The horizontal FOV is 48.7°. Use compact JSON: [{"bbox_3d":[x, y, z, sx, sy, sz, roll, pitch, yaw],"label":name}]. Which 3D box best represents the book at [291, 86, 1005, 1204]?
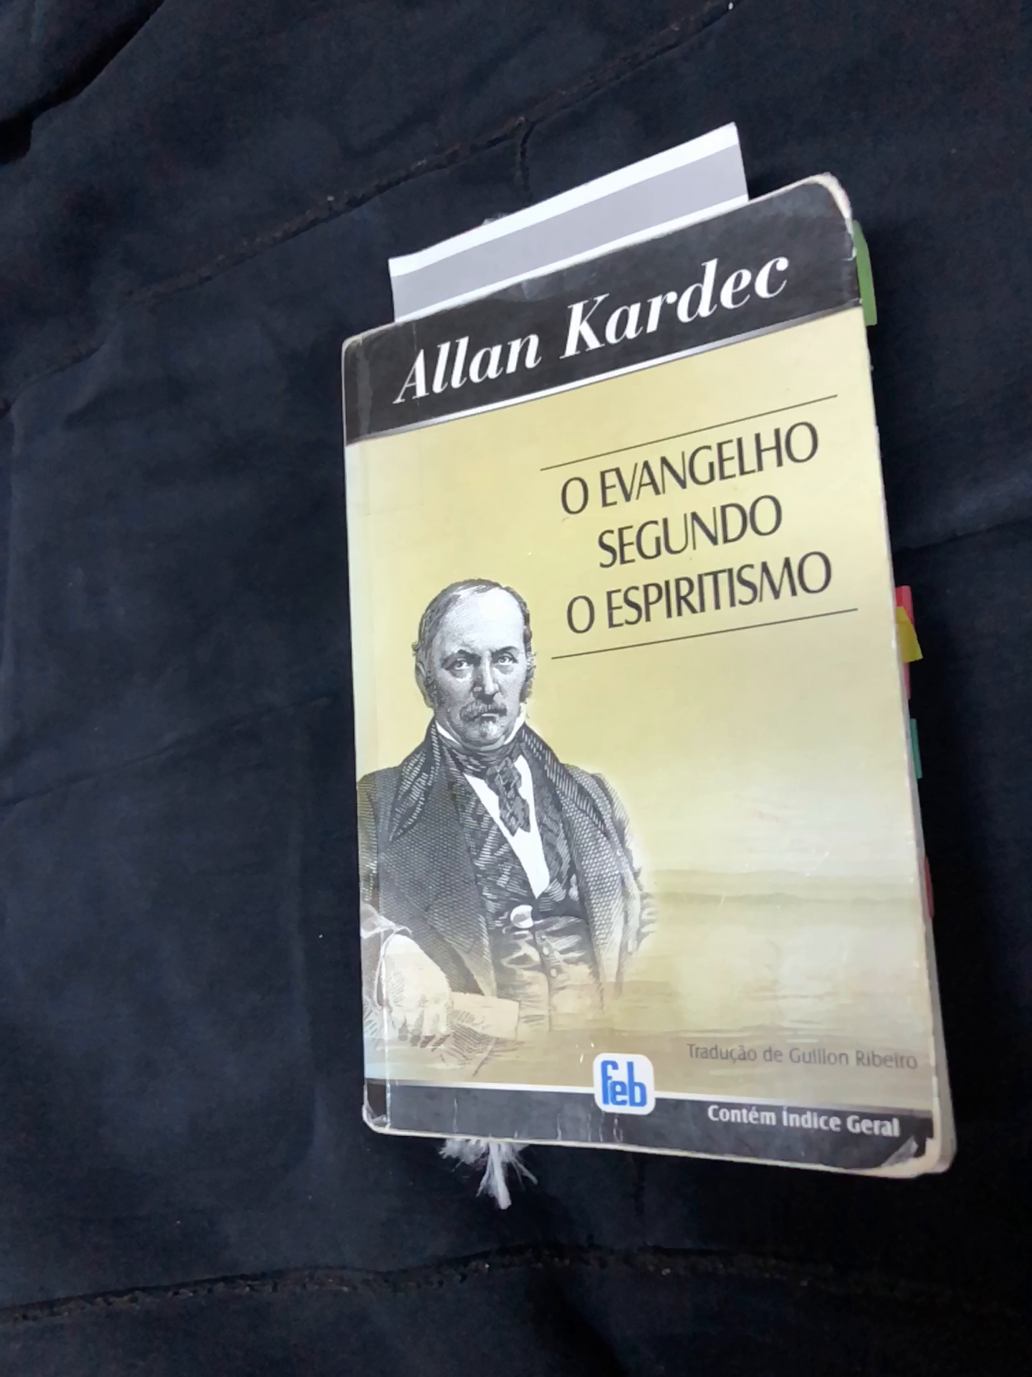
[{"bbox_3d":[0.020,-0.005,0.279,0.150,0.050,0.220,-10,78,31],"label":"book"}]
